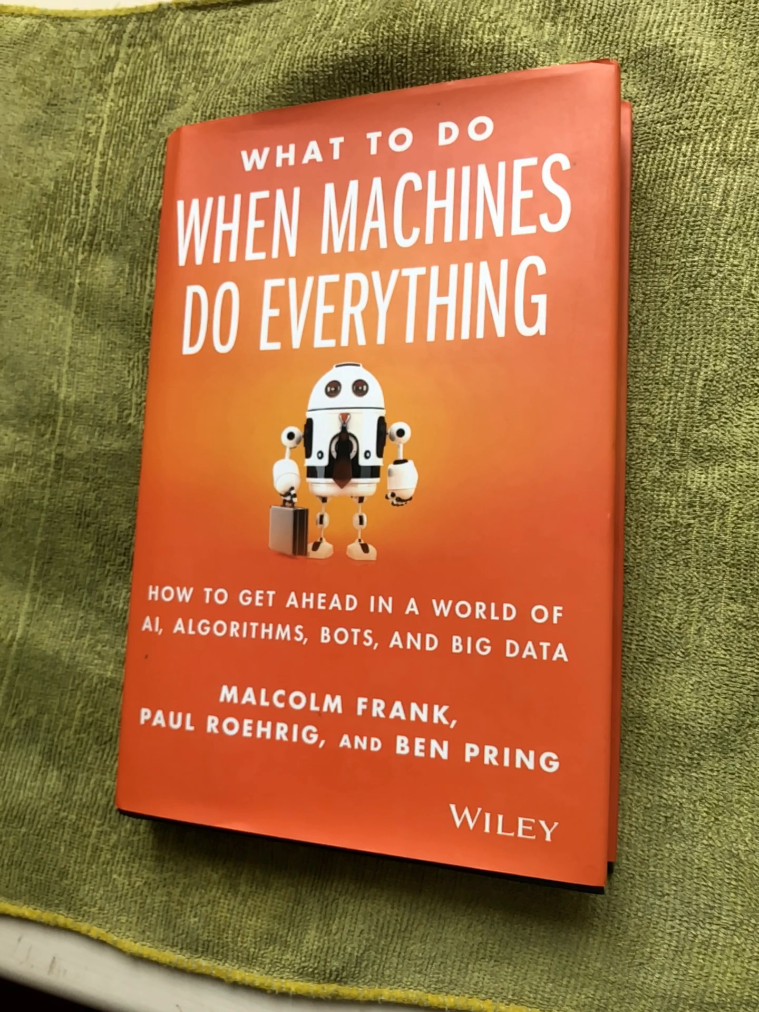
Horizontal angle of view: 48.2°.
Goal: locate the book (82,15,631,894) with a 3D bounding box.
[{"bbox_3d":[-0.005,-0.019,0.273,0.160,0.040,0.240,1,84,18],"label":"book"}]
